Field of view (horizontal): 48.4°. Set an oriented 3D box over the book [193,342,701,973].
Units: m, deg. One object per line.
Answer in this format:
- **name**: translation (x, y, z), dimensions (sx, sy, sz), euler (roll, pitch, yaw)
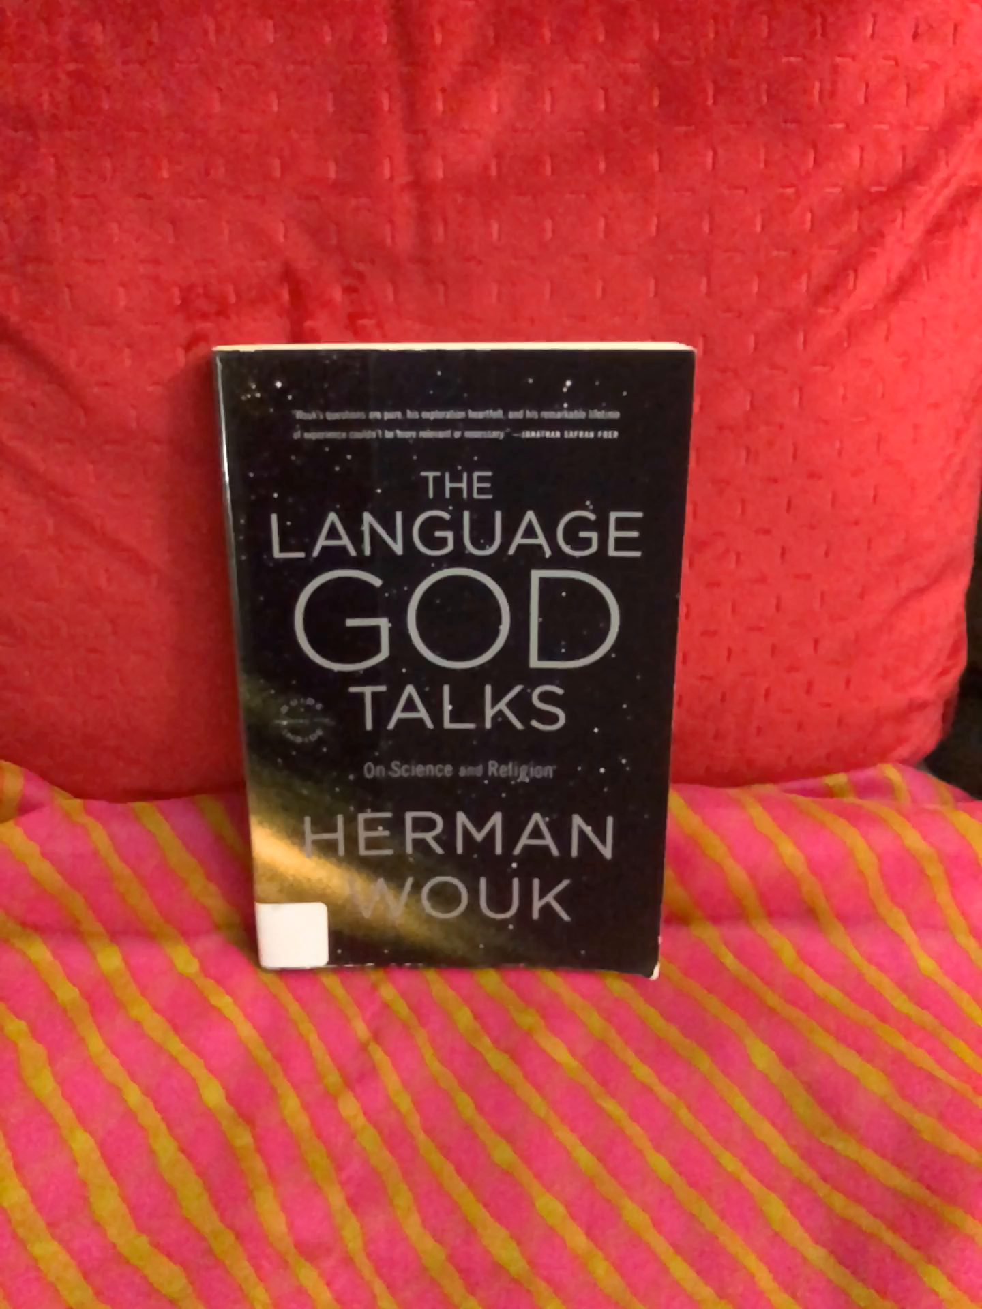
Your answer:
- **book**: translation (-0.012, 0.006, 0.344), dimensions (0.138, 0.199, 0.030), euler (0, 19, 0)
